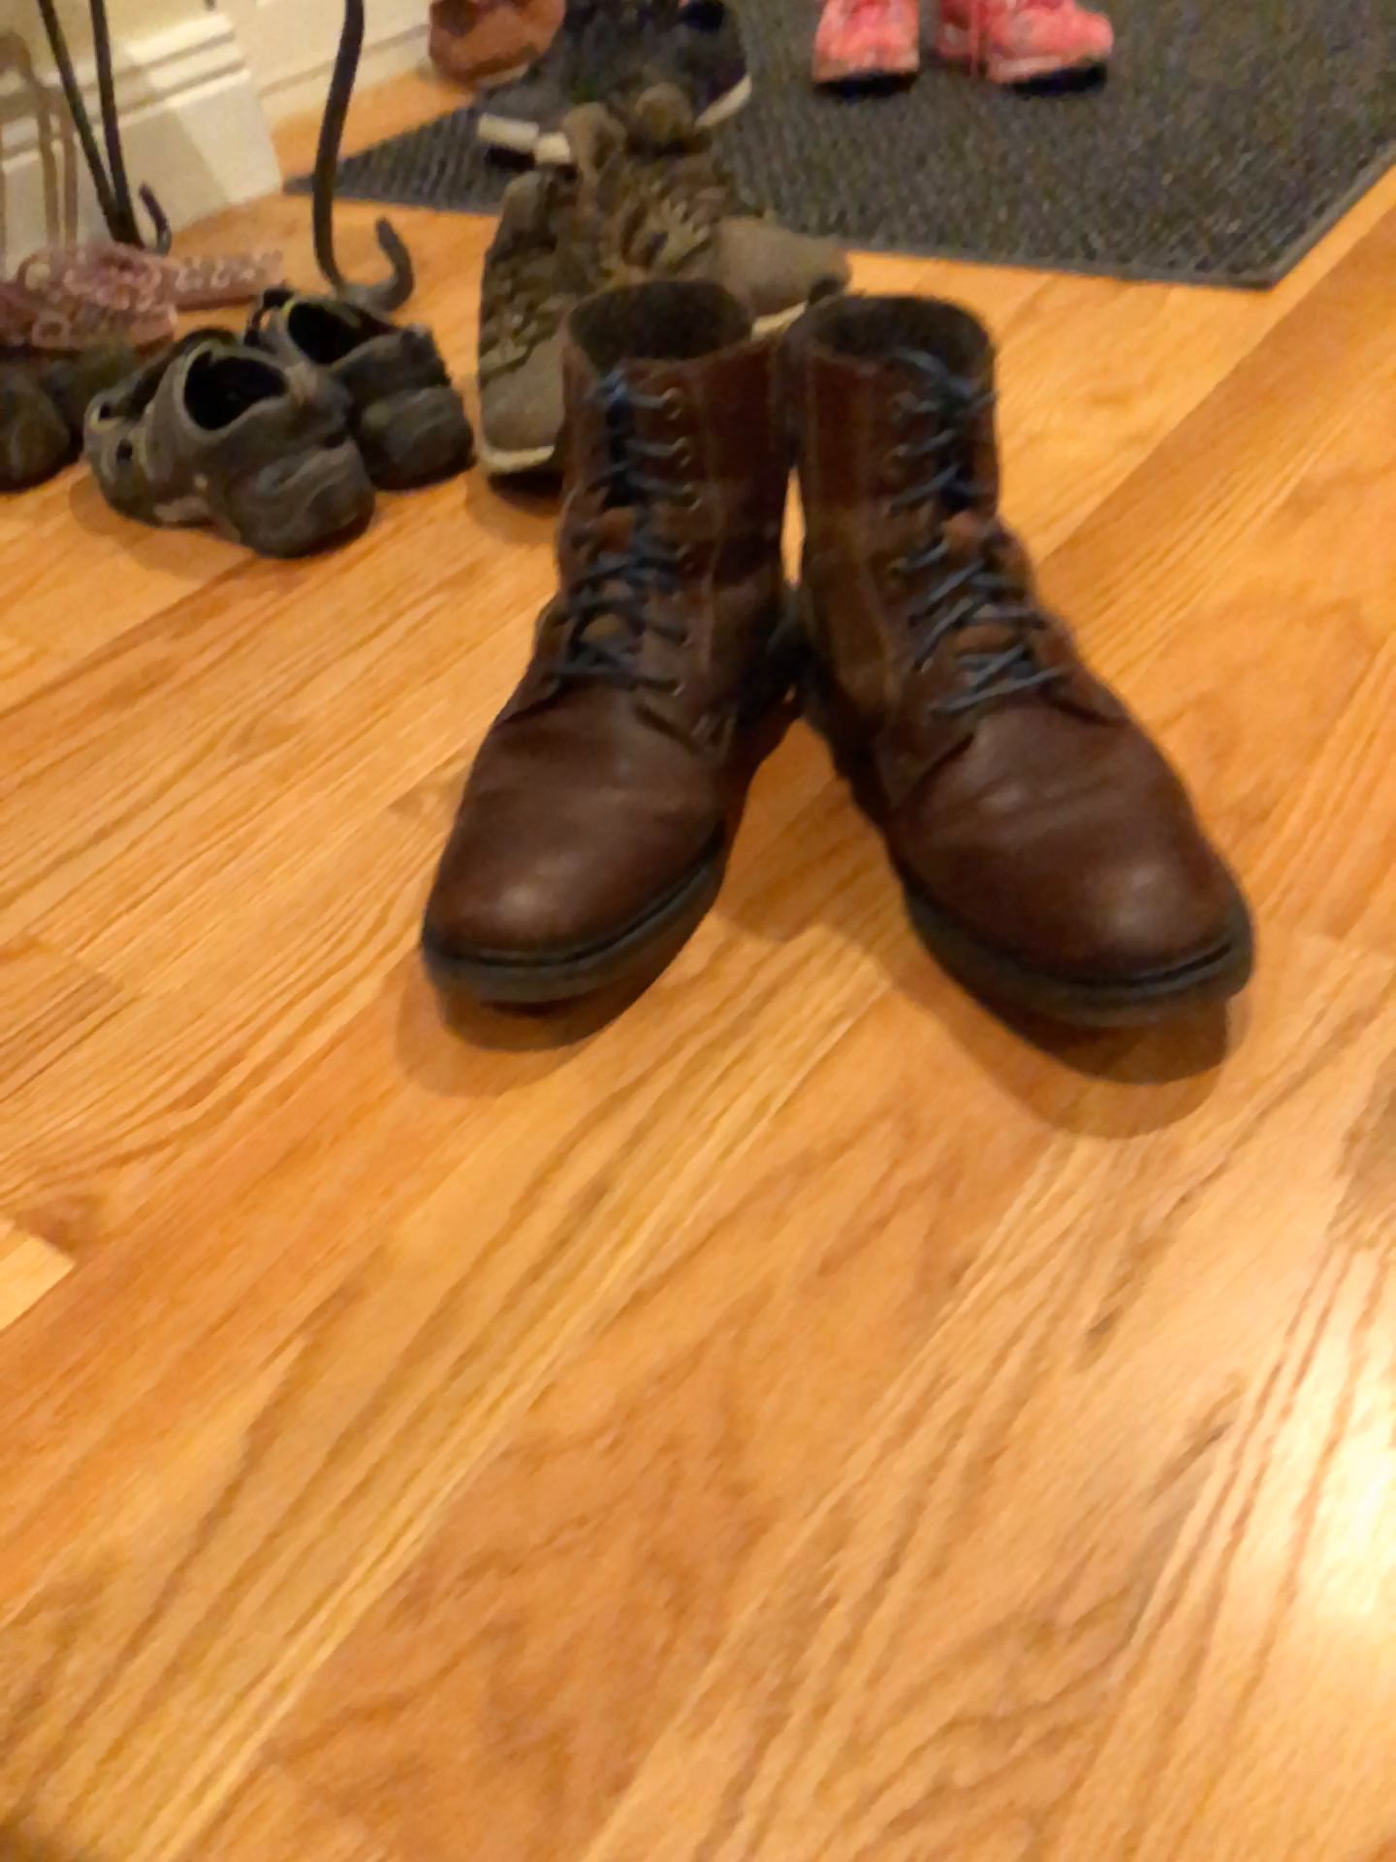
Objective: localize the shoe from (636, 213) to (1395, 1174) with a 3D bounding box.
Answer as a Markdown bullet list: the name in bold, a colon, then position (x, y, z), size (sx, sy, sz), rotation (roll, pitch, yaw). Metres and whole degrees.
- **shoe**: position (0.098, -0.102, 0.531), size (0.128, 0.176, 0.305), rotation (-18, 41, -9)

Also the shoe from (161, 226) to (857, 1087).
- **shoe**: position (-0.038, -0.120, 0.575), size (0.113, 0.167, 0.311), rotation (7, 43, 18)
